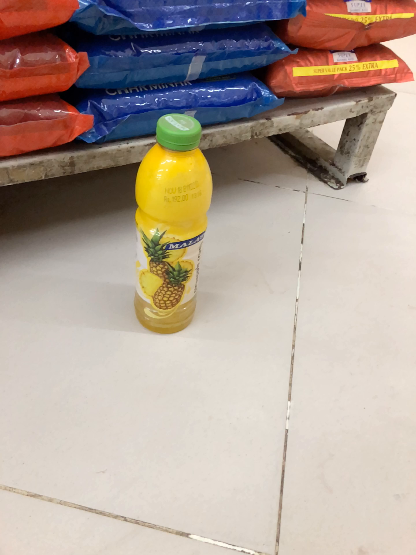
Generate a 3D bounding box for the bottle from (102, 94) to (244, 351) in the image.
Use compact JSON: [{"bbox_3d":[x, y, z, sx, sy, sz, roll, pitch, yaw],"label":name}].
[{"bbox_3d":[-0.044,-0.047,0.487,0.090,0.248,0.090,4,44,-4],"label":"bottle"}]
